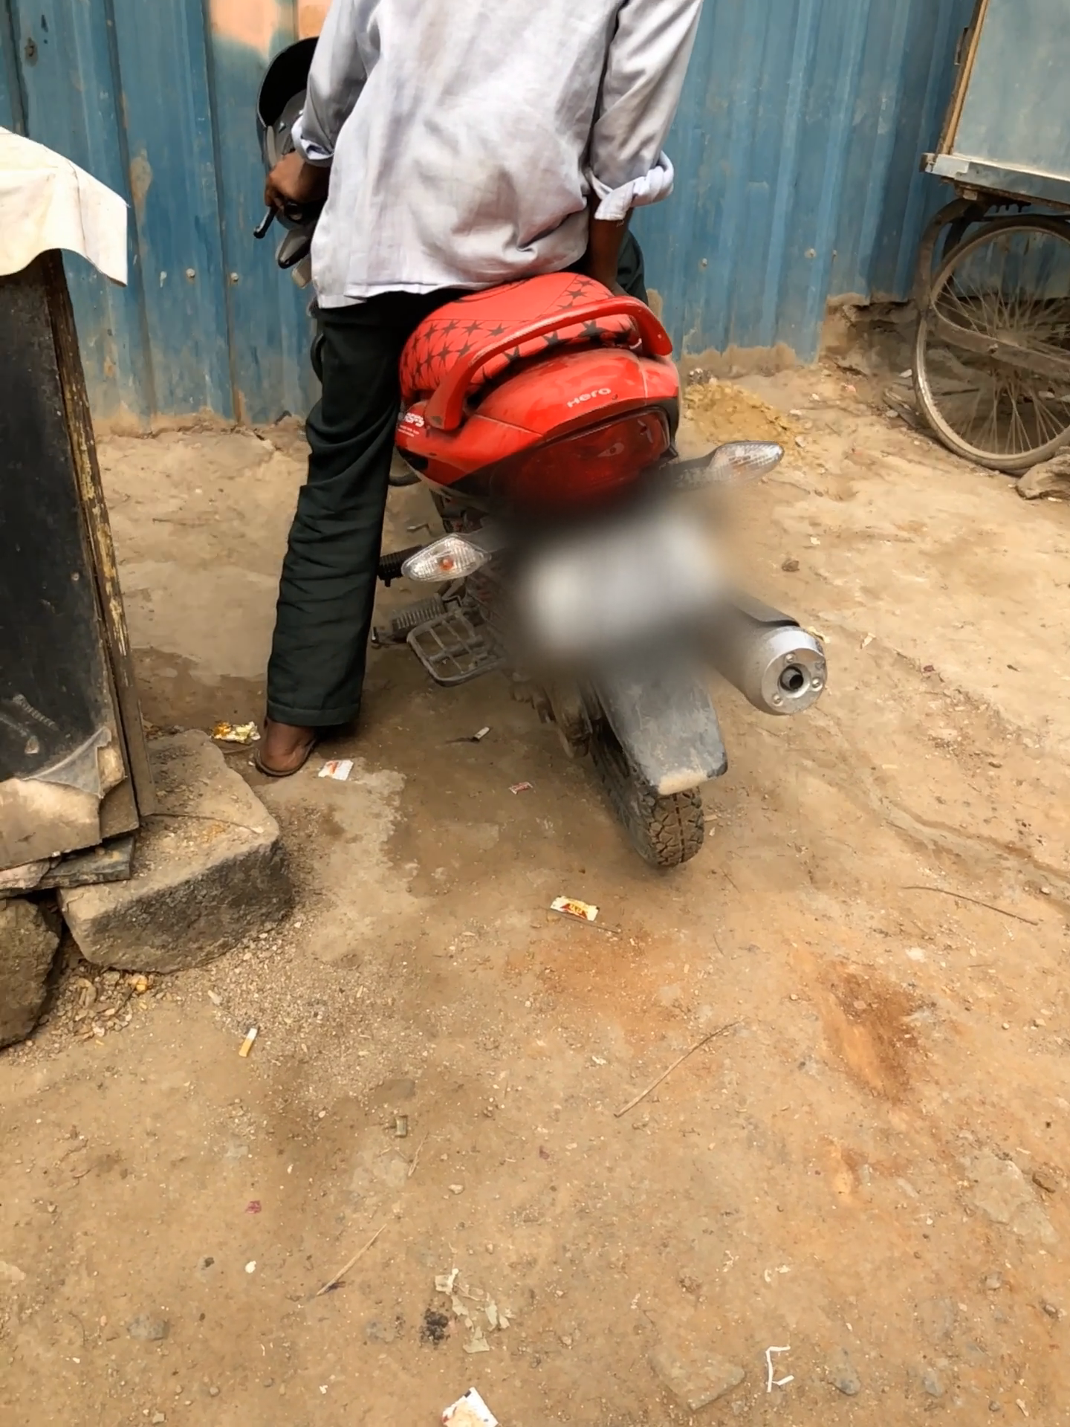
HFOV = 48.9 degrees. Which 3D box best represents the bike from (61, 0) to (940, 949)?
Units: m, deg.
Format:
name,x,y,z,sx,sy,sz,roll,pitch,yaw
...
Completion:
name,x,y,z,sx,sy,sz,roll,pitch,yaw
bike,-0.261,-0.729,1.912,0.736,1.129,1.638,-7,36,-19
